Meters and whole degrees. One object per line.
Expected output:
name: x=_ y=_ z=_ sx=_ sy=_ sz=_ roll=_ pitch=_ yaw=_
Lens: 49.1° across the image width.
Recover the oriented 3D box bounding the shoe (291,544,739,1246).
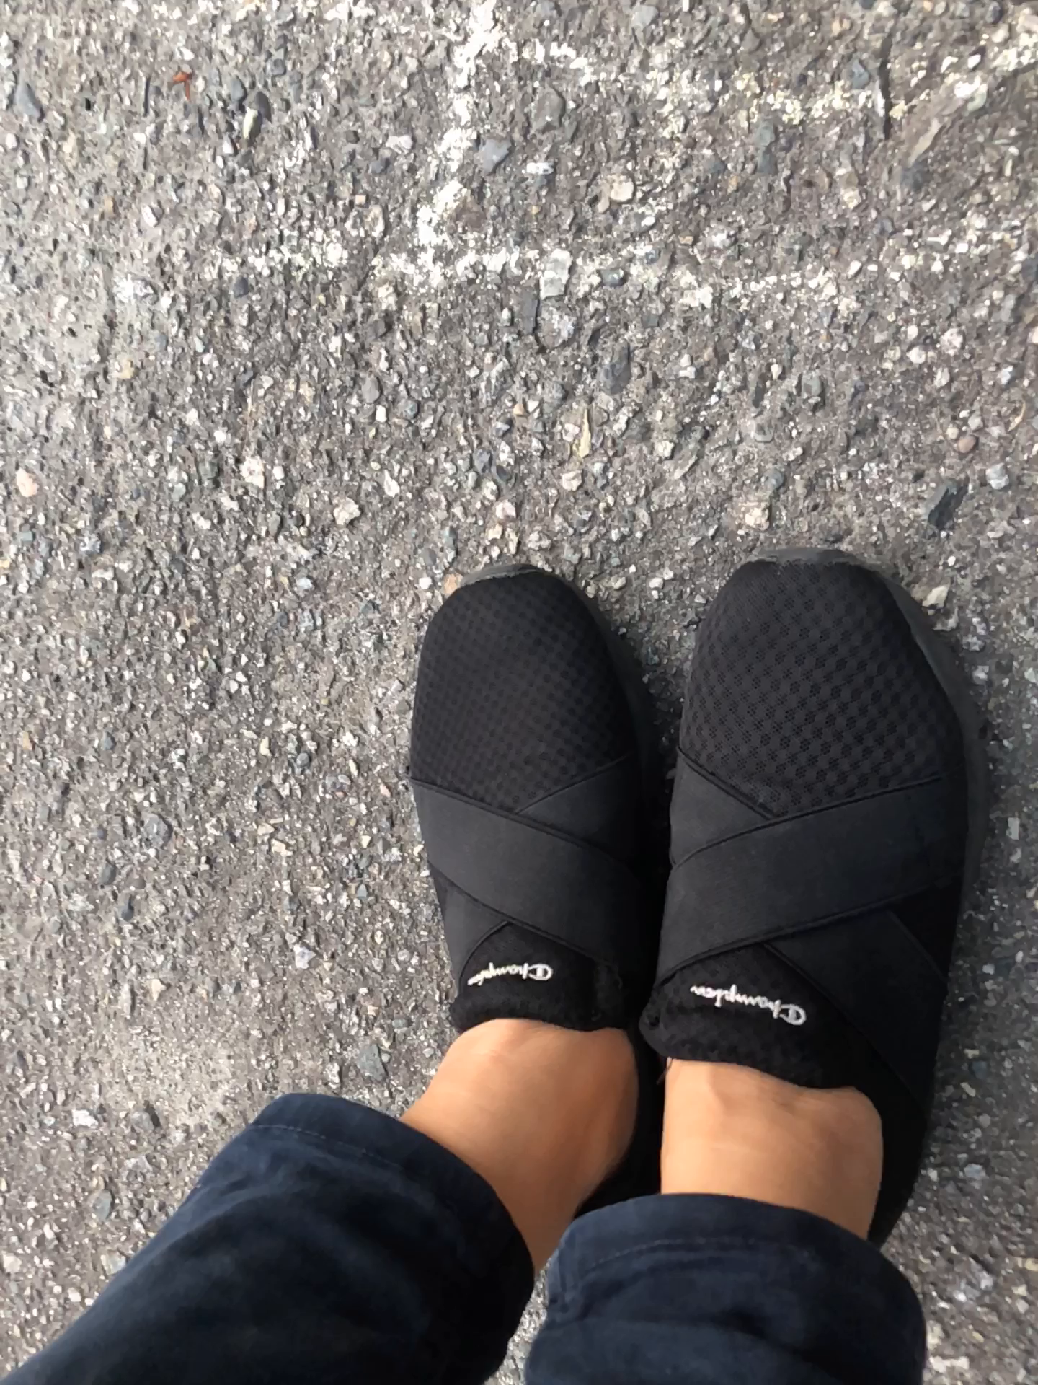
shoe: x=0.004 y=0.068 z=0.399 sx=0.100 sy=0.070 sz=0.220 roll=-6 pitch=100 yaw=24

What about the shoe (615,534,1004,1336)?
shoe: x=0.097 y=0.067 z=0.357 sx=0.100 sy=0.080 sz=0.220 roll=0 pitch=103 yaw=23
